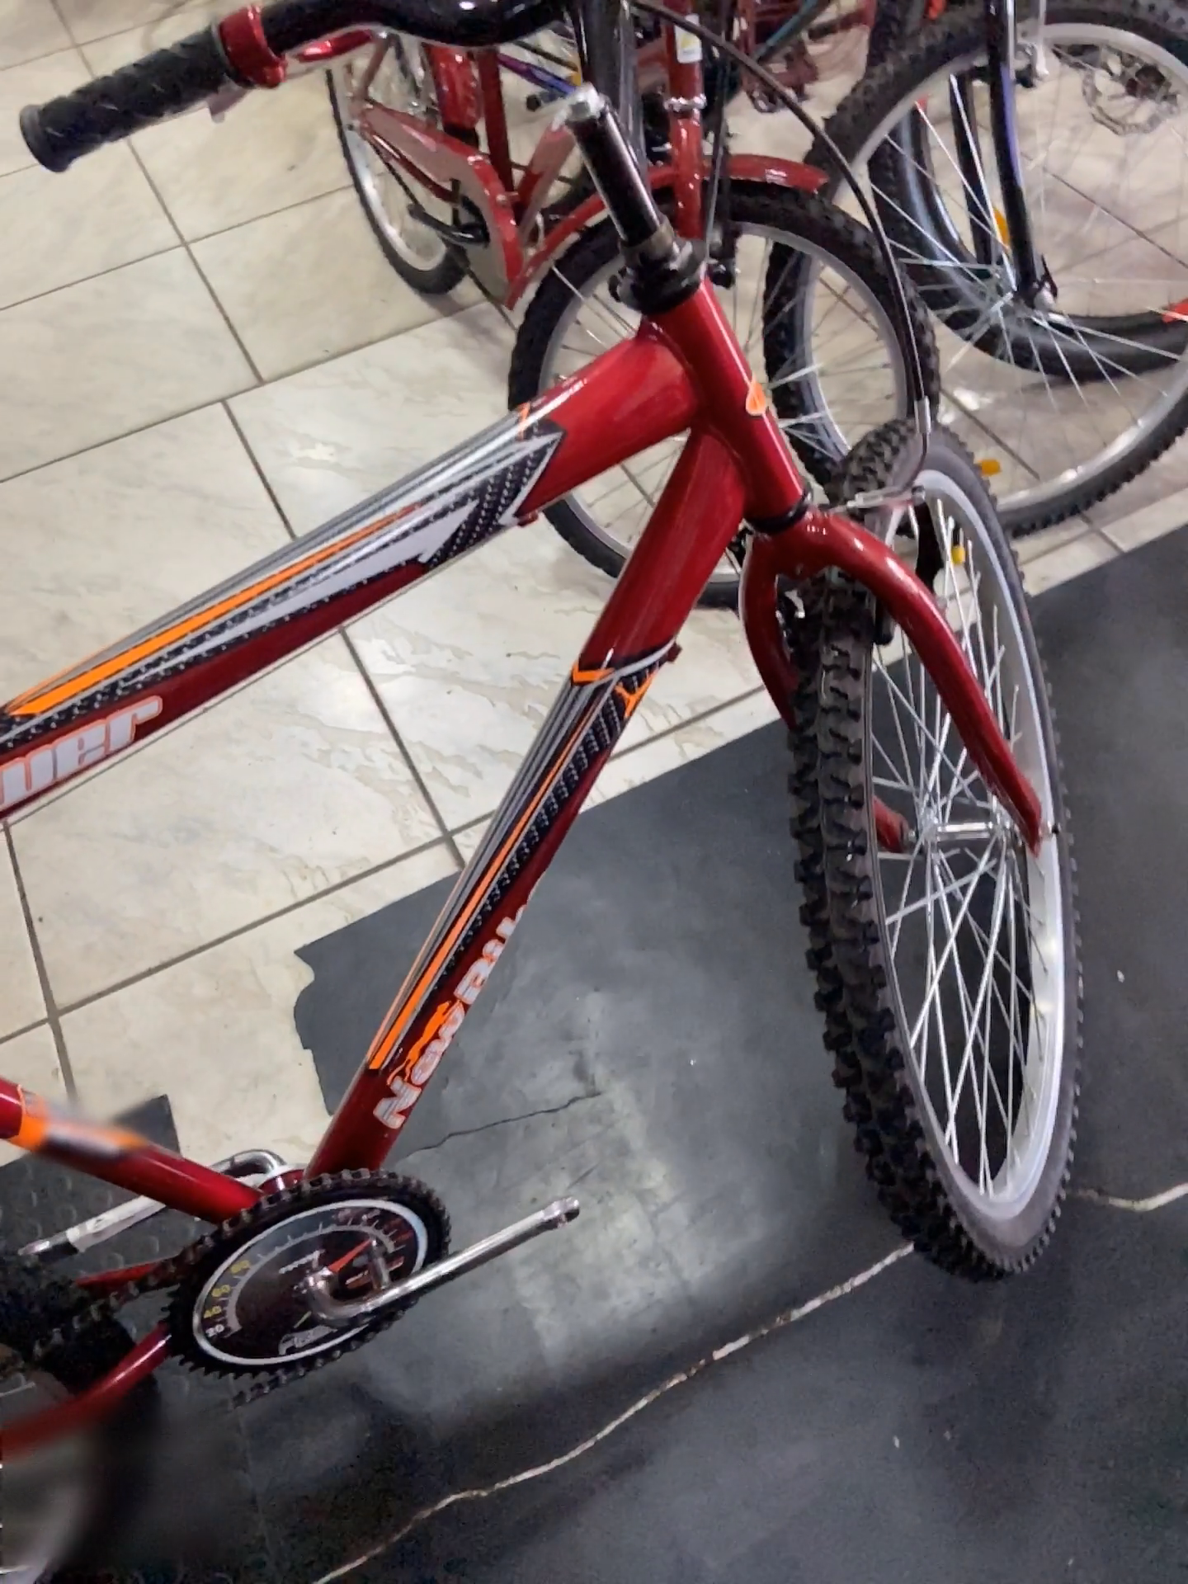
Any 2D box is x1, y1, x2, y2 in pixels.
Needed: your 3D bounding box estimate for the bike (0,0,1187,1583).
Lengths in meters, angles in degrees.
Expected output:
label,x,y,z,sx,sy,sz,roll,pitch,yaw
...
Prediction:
label,x,y,z,sx,sy,sz,roll,pitch,yaw
bike,-0.343,0.040,0.682,1.584,1.030,0.567,-35,58,-13
